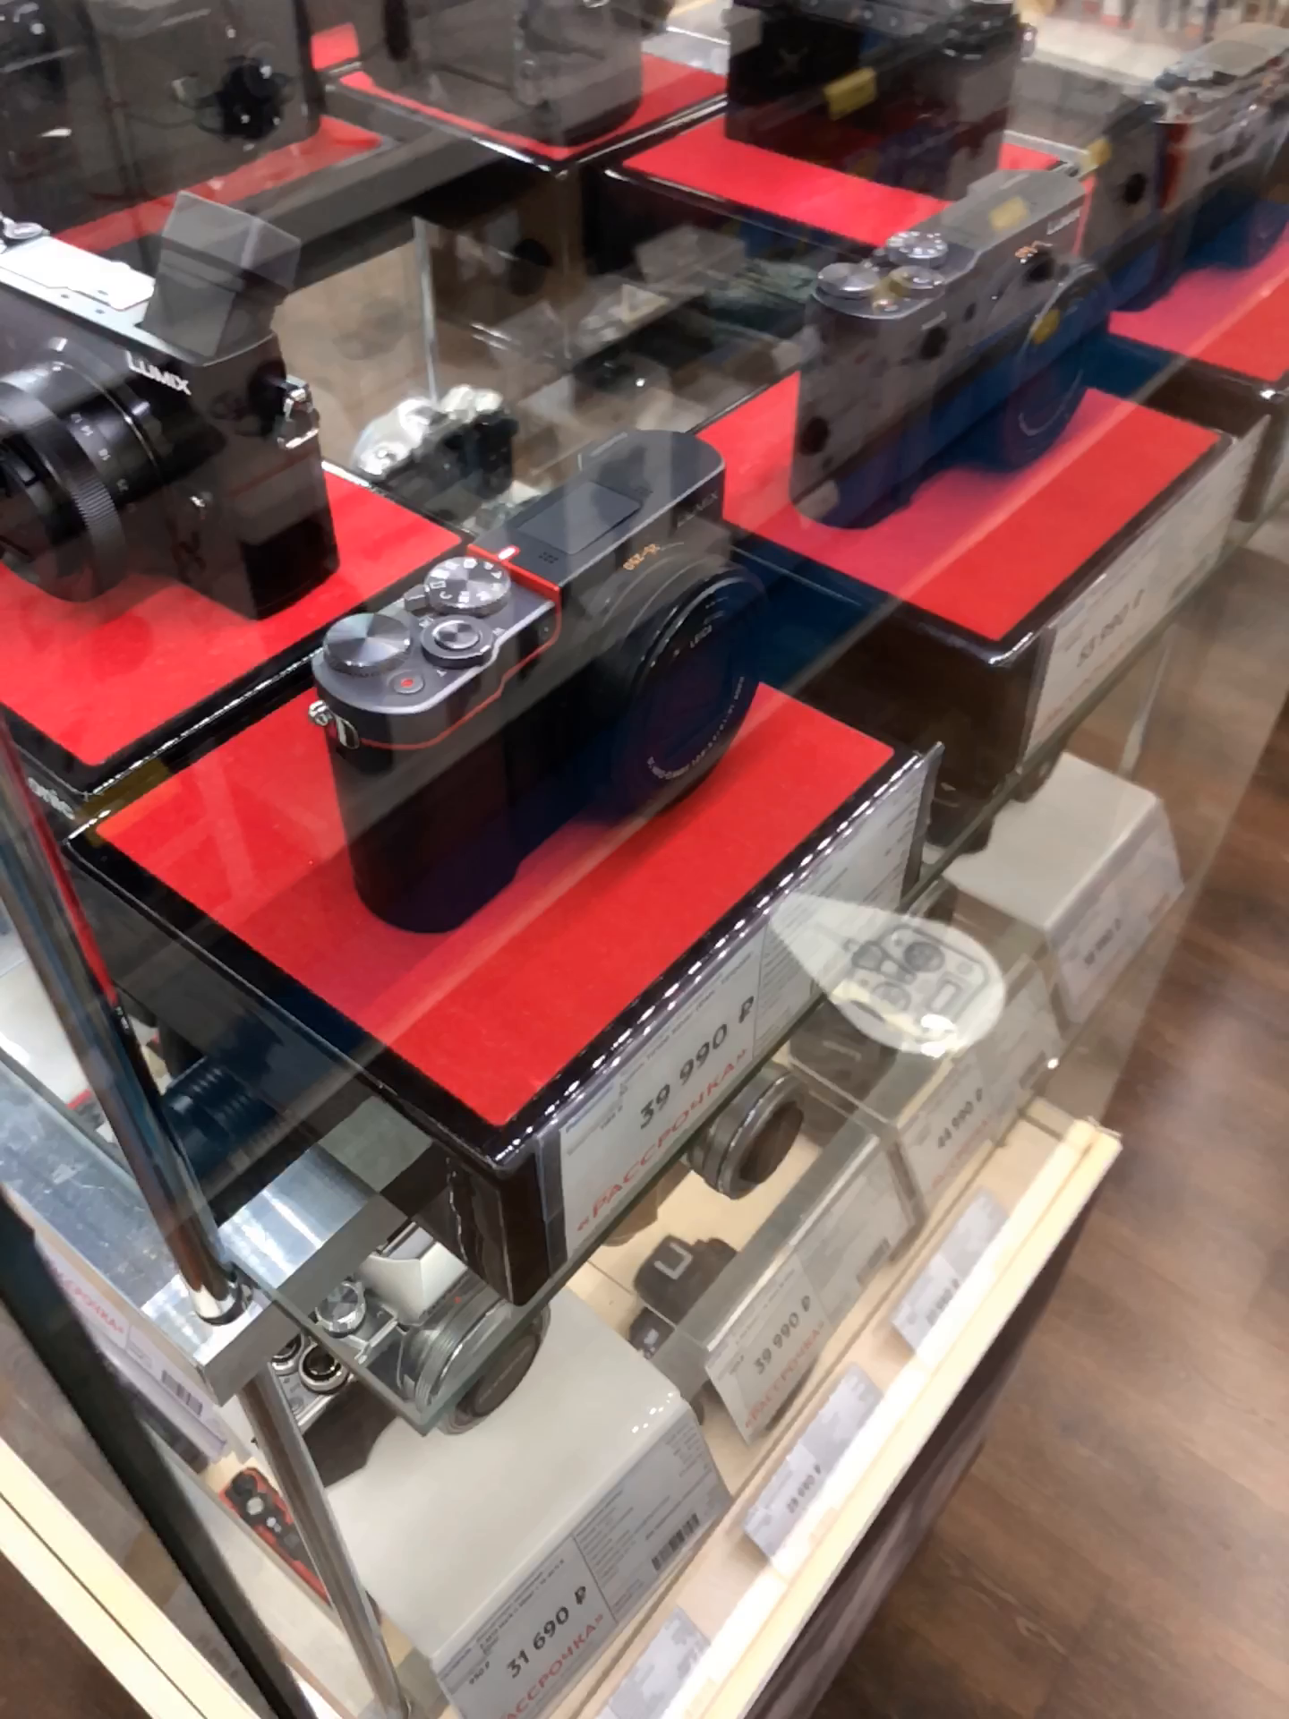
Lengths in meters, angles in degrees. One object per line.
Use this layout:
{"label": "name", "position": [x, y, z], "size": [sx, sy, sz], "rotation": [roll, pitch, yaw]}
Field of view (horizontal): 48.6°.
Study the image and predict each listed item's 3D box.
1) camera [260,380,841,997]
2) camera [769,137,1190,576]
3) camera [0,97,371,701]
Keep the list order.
{"label": "camera", "position": [-0.015, -0.040, 0.301], "size": [0.050, 0.070, 0.113], "rotation": [31, 53, 25]}
{"label": "camera", "position": [0.093, -0.143, 0.399], "size": [0.051, 0.070, 0.113], "rotation": [33, 54, 27]}
{"label": "camera", "position": [-0.142, -0.120, 0.368], "size": [0.113, 0.101, 0.069], "rotation": [30, 52, 24]}
